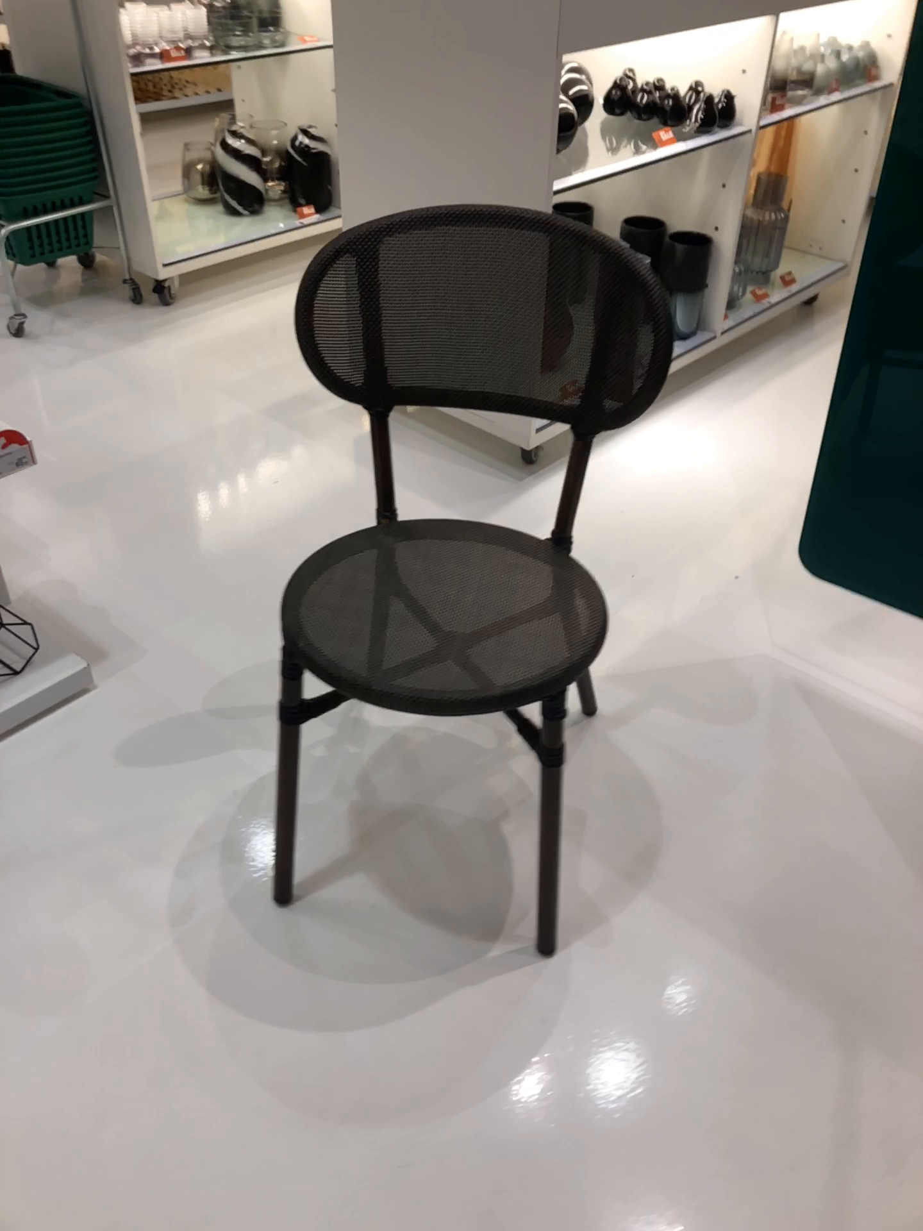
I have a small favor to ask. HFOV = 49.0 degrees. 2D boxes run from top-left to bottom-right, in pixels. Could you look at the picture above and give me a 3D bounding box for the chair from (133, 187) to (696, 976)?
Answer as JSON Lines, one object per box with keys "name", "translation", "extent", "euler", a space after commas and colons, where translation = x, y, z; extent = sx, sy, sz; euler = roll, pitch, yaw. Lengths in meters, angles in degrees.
{"name": "chair", "translation": [-0.006, -0.051, 1.285], "extent": [0.470, 0.764, 0.555], "euler": [8, 38, 8]}
